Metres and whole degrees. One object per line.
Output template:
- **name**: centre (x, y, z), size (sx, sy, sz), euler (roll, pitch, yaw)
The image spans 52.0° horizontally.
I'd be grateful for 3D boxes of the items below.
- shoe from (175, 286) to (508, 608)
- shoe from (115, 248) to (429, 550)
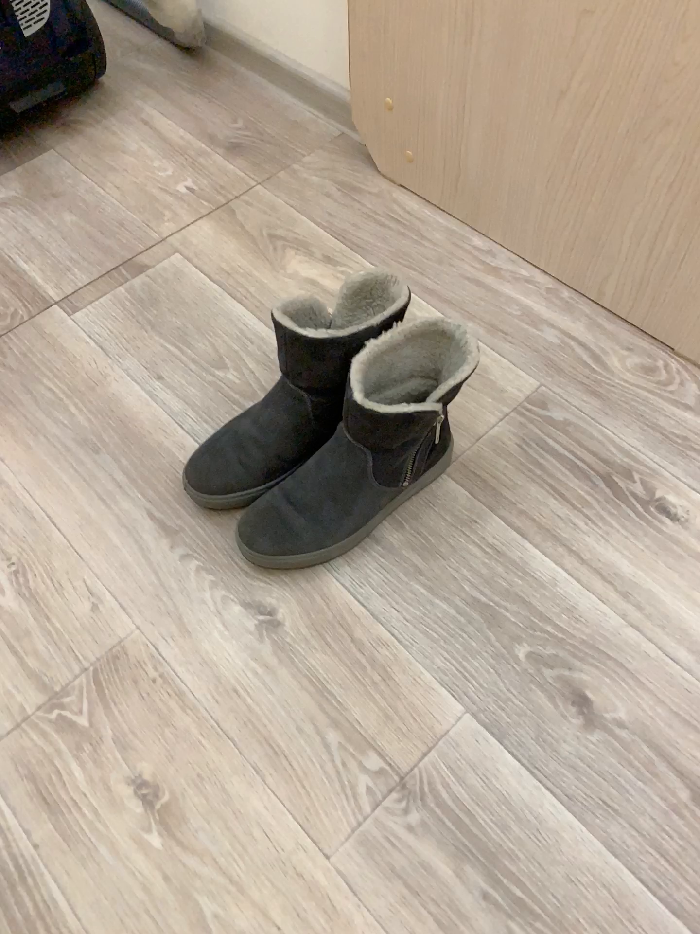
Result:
- **shoe**: centre (0.000, -0.017, 0.666), size (0.270, 0.169, 0.100), euler (-33, 62, -18)
- **shoe**: centre (-0.064, -0.065, 0.718), size (0.270, 0.179, 0.100), euler (-32, 62, -17)
